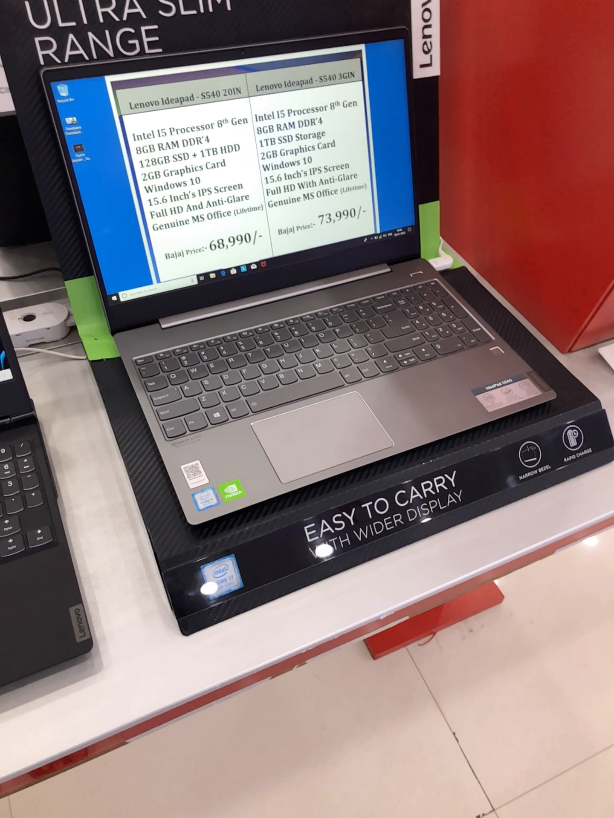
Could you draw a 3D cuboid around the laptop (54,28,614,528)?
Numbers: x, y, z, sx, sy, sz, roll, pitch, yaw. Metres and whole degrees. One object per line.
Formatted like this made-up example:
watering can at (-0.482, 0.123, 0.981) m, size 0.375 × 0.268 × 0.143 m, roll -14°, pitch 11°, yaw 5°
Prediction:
laptop at (0.007, -0.142, 0.577) m, size 0.337 × 0.194 × 0.325 m, roll -17°, pitch 52°, yaw -19°
